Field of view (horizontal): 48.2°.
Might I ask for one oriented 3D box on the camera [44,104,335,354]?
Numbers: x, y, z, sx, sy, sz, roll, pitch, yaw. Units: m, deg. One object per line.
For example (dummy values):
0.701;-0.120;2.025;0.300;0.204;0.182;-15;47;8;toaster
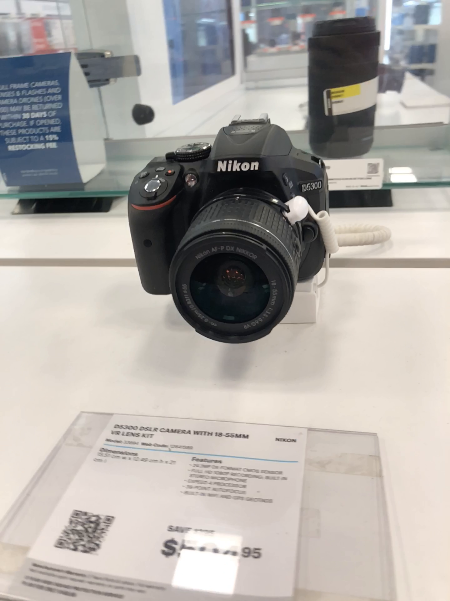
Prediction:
-0.002;-0.051;0.300;0.130;0.100;0.141;0;27;12;camera
